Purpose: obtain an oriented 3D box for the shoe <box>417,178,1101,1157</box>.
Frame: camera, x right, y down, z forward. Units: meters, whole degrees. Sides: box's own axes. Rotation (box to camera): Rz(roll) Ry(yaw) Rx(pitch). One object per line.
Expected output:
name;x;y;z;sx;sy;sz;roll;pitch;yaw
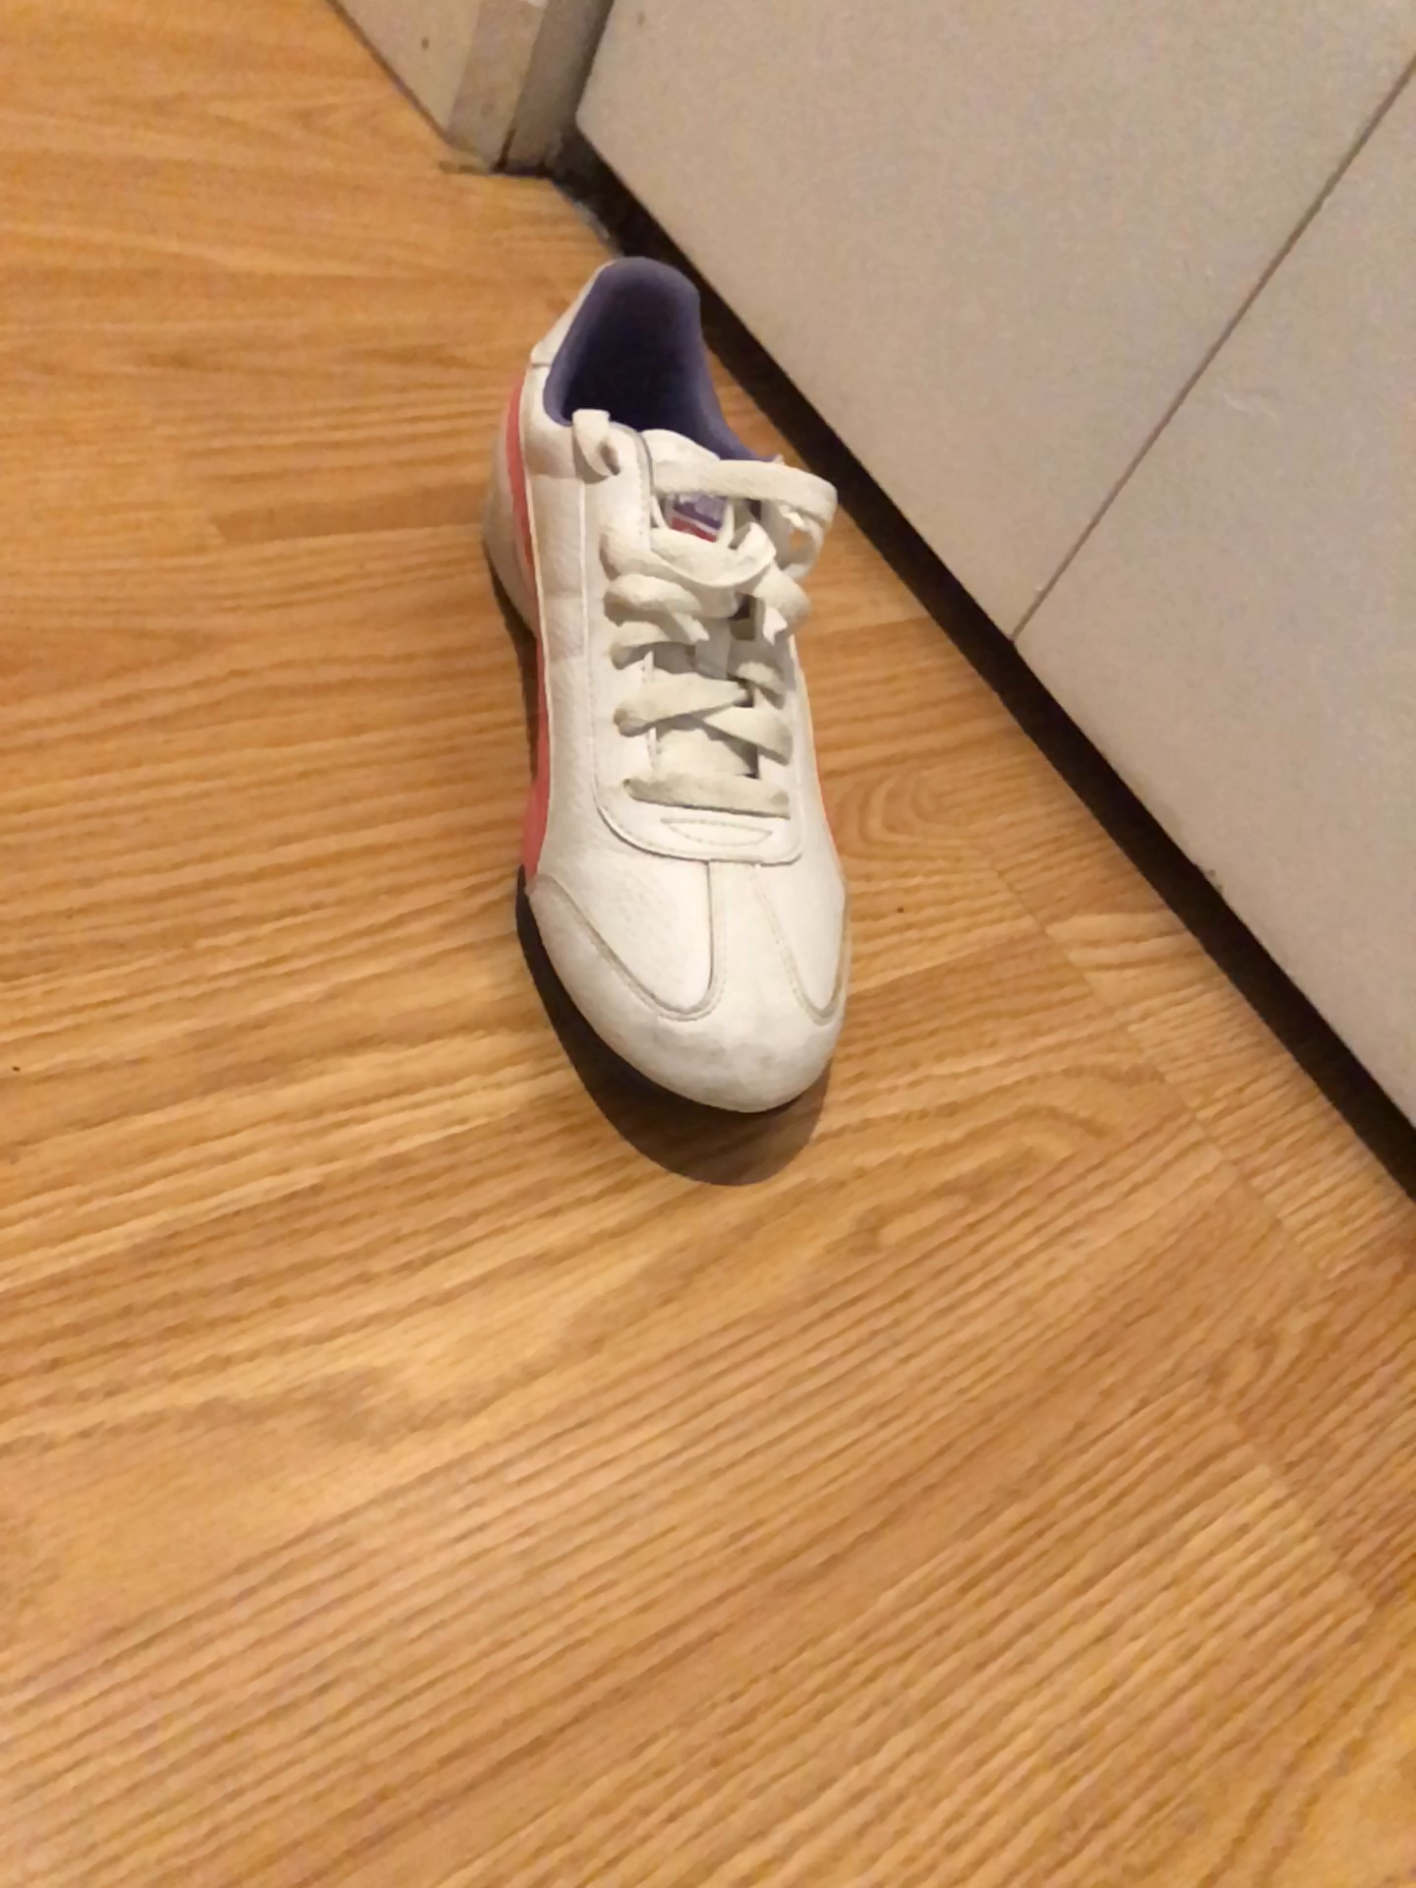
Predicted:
shoe;-0.004;-0.080;0.410;0.100;0.080;0.261;5;51;-25
